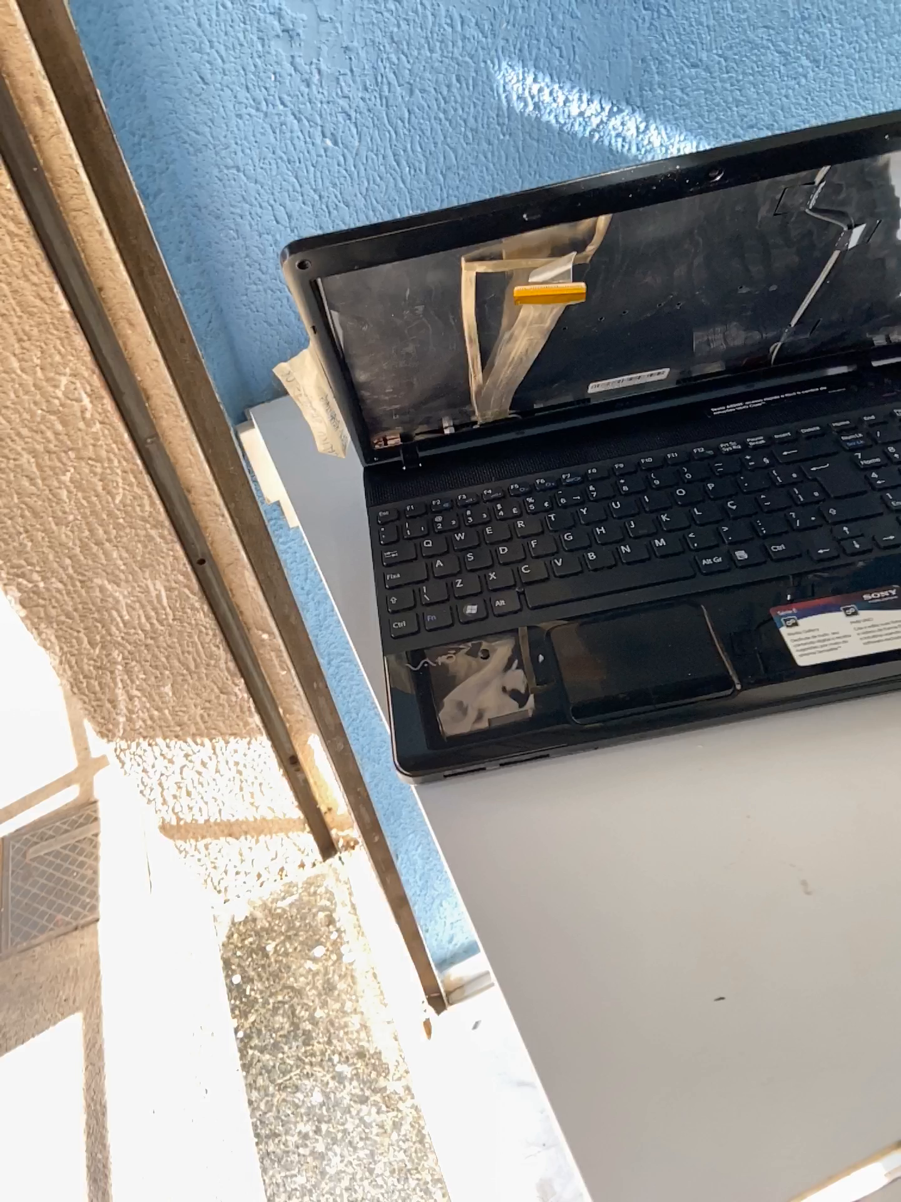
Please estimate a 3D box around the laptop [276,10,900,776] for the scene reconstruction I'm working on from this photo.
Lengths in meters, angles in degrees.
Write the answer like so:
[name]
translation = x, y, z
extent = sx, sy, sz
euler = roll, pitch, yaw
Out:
[laptop]
translation = 0.121, -0.110, 0.451
extent = 0.364, 0.193, 0.243
euler = -12, 43, 1
